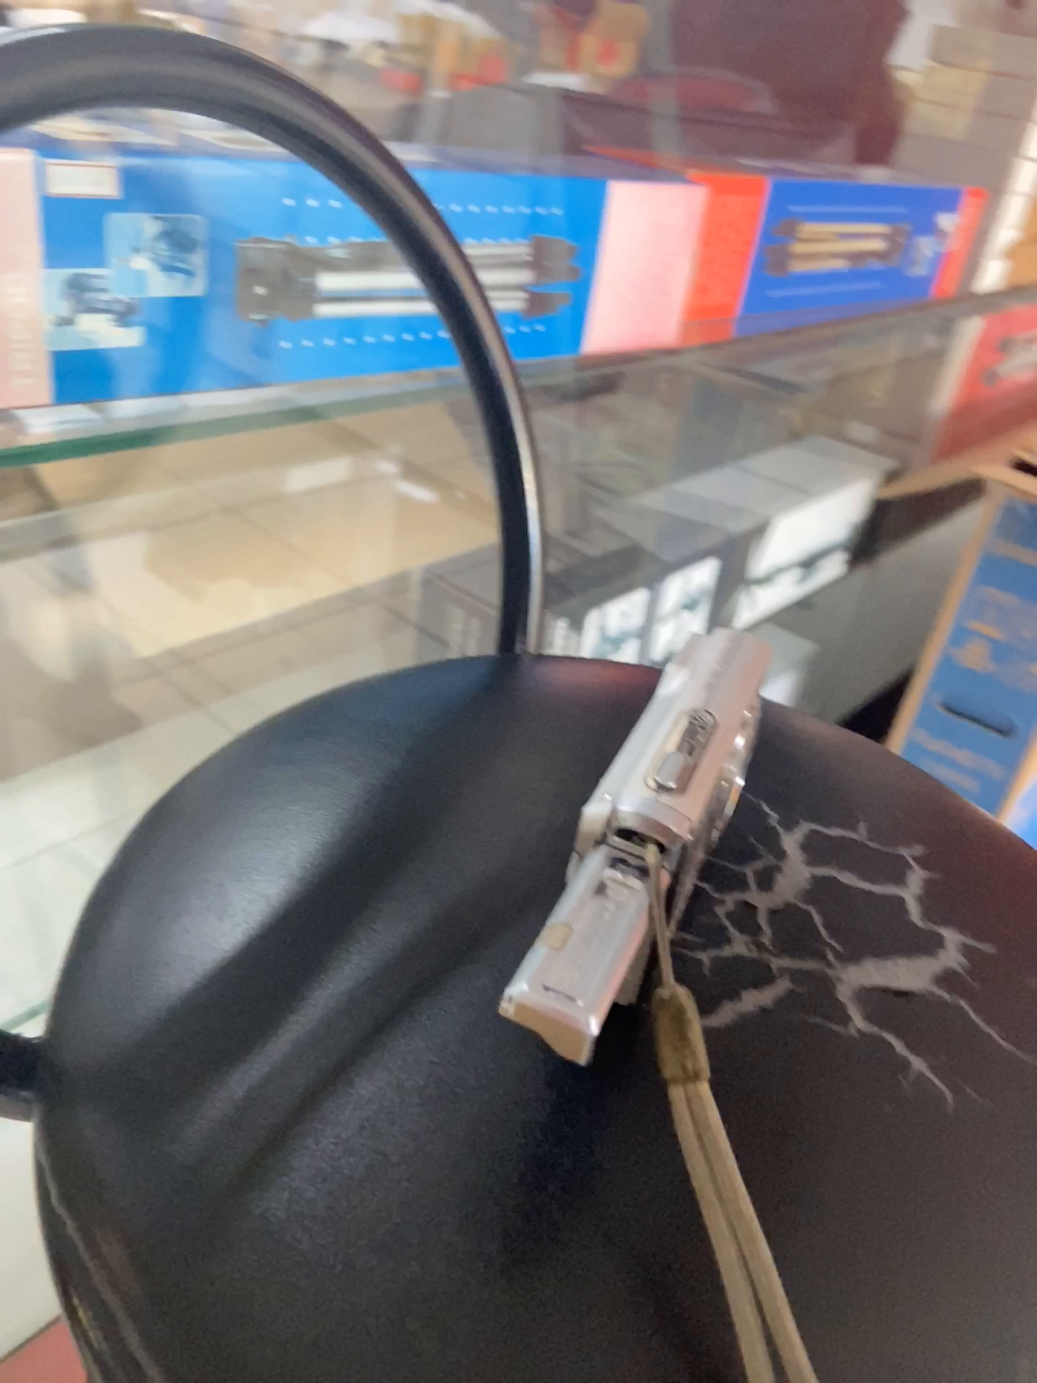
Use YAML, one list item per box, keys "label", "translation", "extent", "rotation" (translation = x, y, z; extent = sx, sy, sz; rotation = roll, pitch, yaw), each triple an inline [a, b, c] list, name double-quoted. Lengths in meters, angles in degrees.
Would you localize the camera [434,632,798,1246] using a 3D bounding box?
- label: "camera"
  translation: [0.028, 0.041, 0.235]
  extent: [0.030, 0.053, 0.137]
  rotation: [19, 32, 15]
